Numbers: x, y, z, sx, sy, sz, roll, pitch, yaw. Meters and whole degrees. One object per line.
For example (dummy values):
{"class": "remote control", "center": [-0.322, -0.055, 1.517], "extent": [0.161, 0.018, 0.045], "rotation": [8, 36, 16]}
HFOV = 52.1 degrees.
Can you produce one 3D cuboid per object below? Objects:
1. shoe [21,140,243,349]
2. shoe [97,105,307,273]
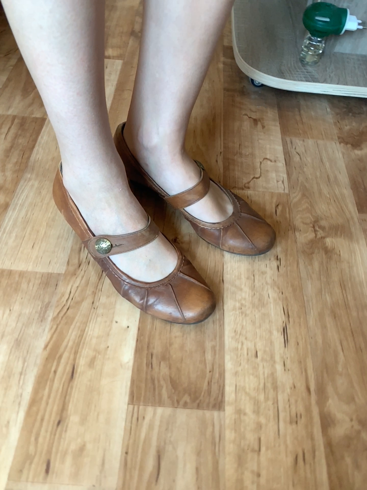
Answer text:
{"class": "shoe", "center": [-0.065, -0.007, 0.444], "extent": [0.250, 0.090, 0.090], "rotation": [37, 60, 20]}
{"class": "shoe", "center": [0.018, -0.079, 0.501], "extent": [0.250, 0.090, 0.090], "rotation": [29, 58, 15]}
